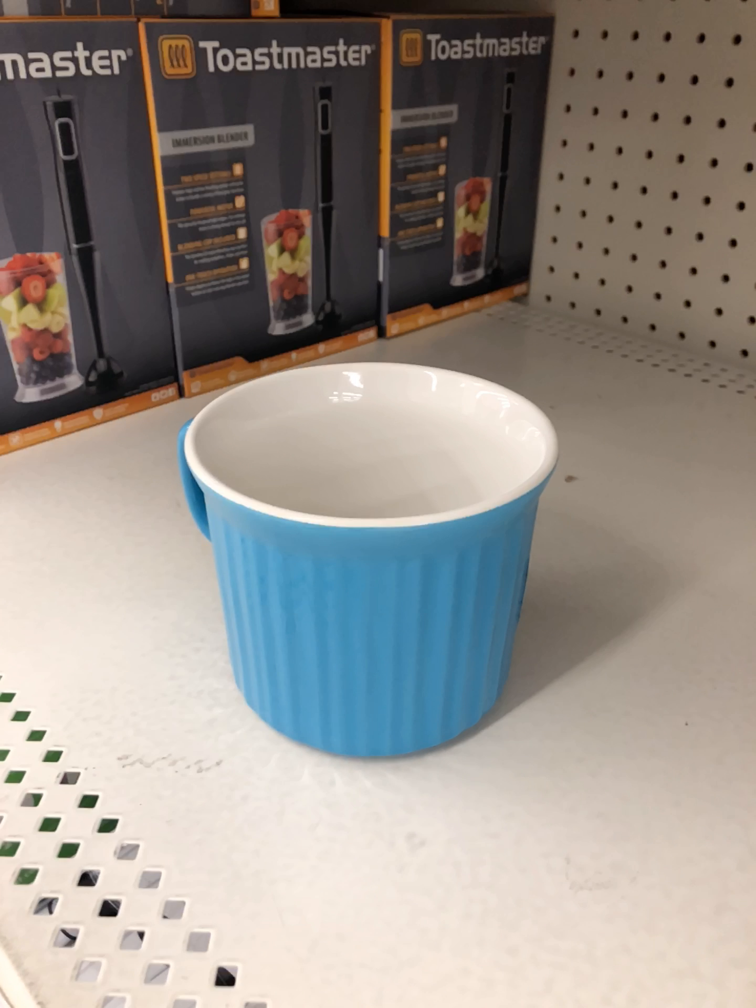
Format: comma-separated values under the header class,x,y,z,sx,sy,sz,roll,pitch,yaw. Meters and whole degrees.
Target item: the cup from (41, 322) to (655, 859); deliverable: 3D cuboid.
class,x,y,z,sx,sy,sz,roll,pitch,yaw
cup,-0.008,0.012,0.302,0.161,0.093,0.126,19,36,29
